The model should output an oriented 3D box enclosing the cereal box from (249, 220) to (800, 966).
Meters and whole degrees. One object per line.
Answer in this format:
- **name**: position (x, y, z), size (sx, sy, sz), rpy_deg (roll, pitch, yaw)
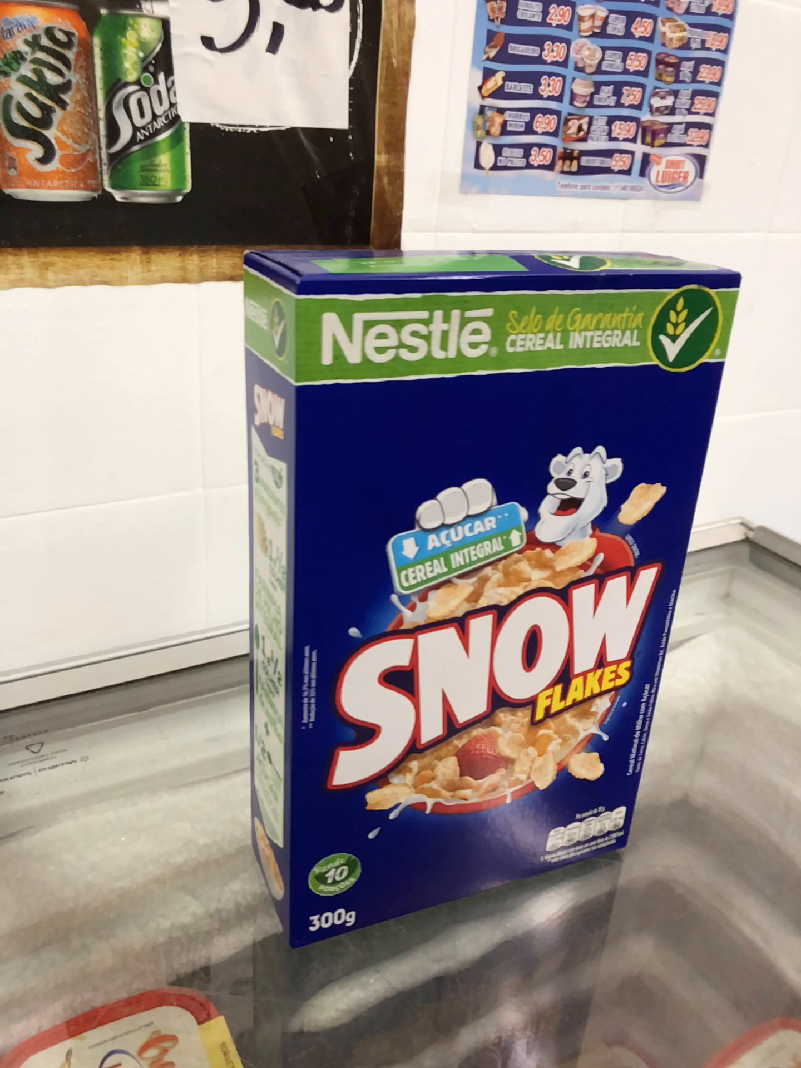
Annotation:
- **cereal box**: position (0.034, 0.022, 0.341), size (0.170, 0.258, 0.070), rpy_deg (-6, 26, -21)
